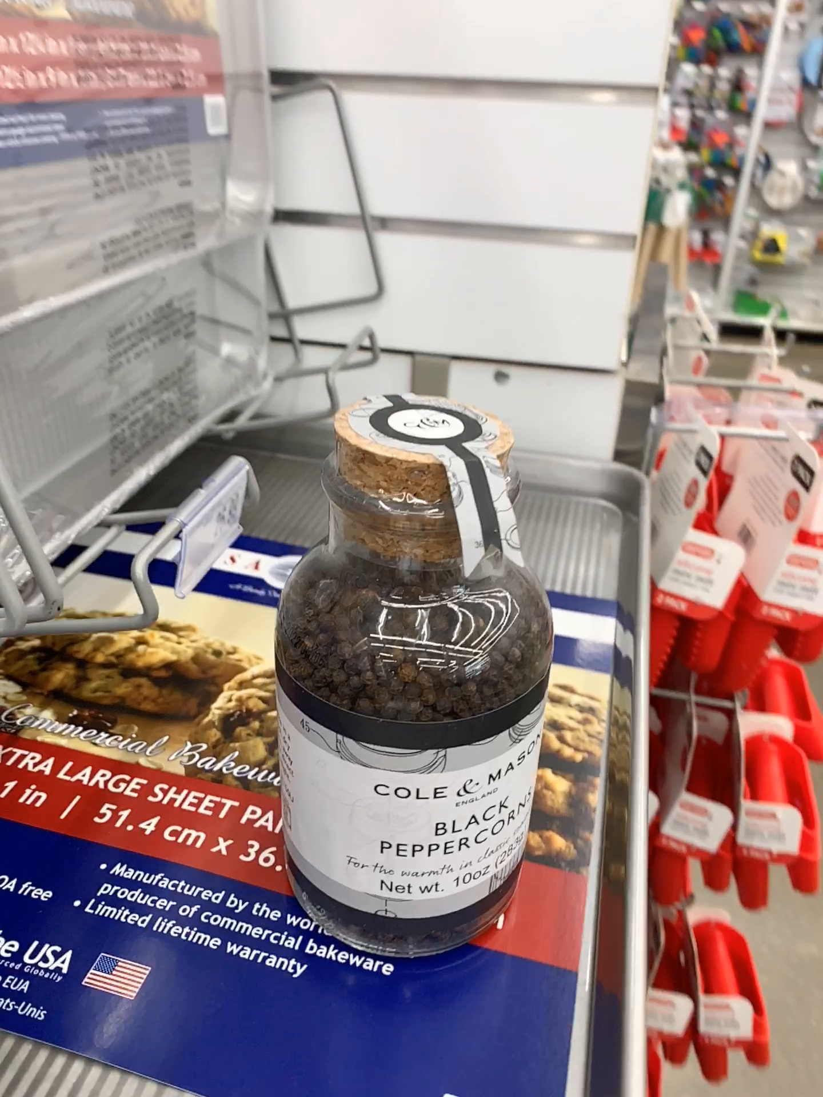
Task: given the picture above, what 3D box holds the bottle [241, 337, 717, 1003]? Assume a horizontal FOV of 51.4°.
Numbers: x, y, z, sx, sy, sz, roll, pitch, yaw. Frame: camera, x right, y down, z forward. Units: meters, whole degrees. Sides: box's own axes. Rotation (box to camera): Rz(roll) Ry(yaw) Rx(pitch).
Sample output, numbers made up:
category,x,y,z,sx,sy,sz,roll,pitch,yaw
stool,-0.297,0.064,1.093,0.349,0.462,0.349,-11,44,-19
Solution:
category,x,y,z,sx,sy,sz,roll,pitch,yaw
bottle,0.009,0.032,0.256,0.090,0.159,0.090,2,30,-1
